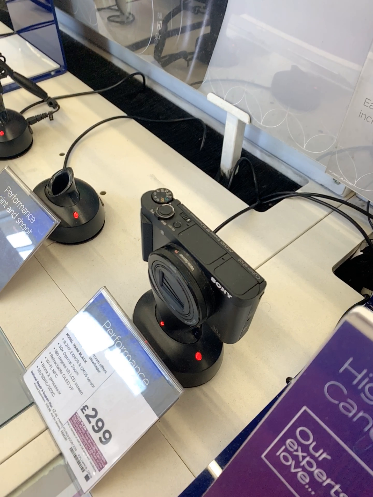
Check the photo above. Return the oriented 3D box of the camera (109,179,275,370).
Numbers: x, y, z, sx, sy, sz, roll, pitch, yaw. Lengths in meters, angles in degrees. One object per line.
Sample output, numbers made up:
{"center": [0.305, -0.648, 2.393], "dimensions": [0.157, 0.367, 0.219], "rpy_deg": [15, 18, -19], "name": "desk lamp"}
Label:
{"center": [-0.002, 0.014, 0.241], "dimensions": [0.040, 0.059, 0.101], "rpy_deg": [-31, 60, -25], "name": "camera"}
